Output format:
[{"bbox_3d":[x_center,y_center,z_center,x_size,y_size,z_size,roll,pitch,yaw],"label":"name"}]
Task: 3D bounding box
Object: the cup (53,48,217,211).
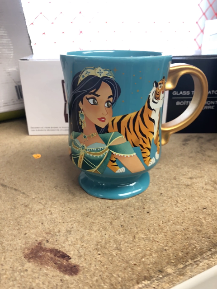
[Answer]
[{"bbox_3d":[0.024,-0.026,0.239,0.140,0.120,0.099,-6,24,-11],"label":"cup"}]
